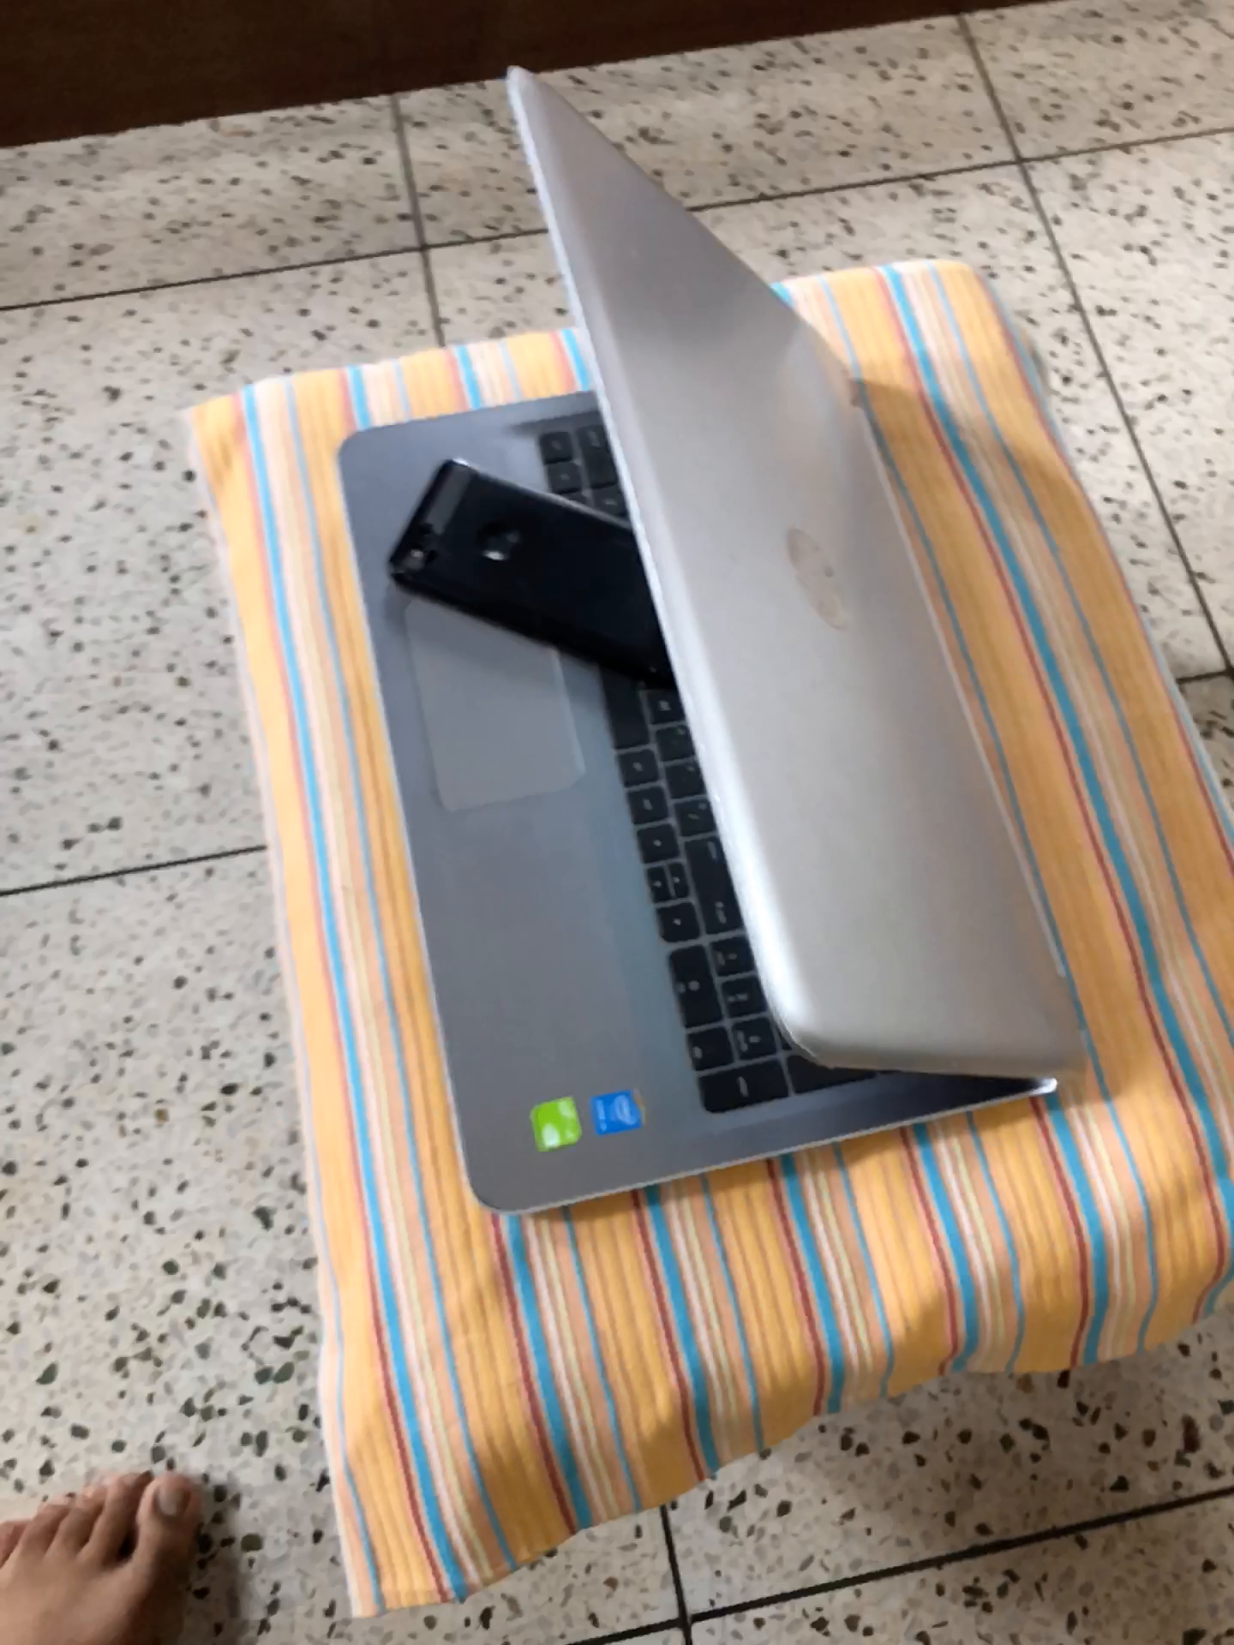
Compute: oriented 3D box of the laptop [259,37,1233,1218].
[{"bbox_3d":[0.025,-0.073,0.525,0.236,0.184,0.372,-12,68,-5],"label":"laptop"}]
